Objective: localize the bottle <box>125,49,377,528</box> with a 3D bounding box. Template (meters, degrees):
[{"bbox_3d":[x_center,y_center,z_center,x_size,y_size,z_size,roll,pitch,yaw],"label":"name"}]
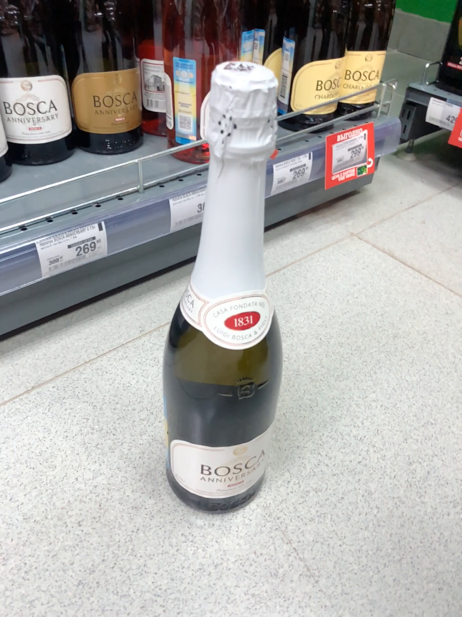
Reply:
[{"bbox_3d":[-0.004,0.011,0.334,0.090,0.308,0.090,3,39,-2],"label":"bottle"}]
